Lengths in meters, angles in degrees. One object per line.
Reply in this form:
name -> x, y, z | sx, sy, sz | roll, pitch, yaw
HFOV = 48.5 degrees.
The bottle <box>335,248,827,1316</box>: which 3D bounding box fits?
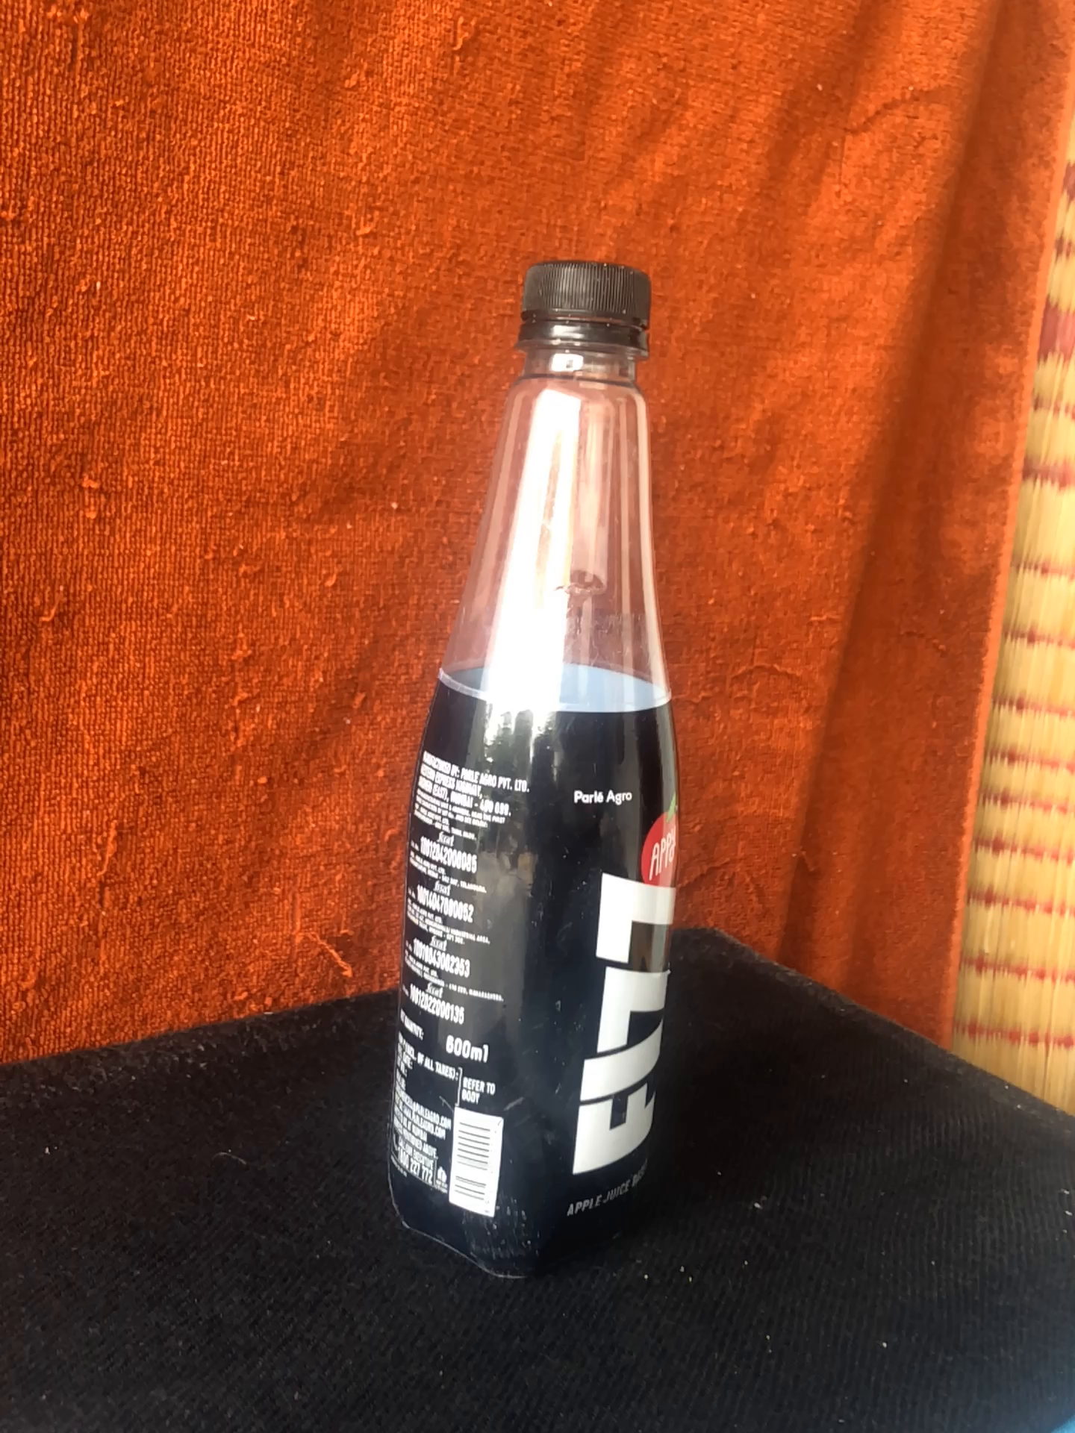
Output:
bottle -> 0.009, 0.013, 0.282 | 0.060, 0.219, 0.070 | 14, 13, 29
